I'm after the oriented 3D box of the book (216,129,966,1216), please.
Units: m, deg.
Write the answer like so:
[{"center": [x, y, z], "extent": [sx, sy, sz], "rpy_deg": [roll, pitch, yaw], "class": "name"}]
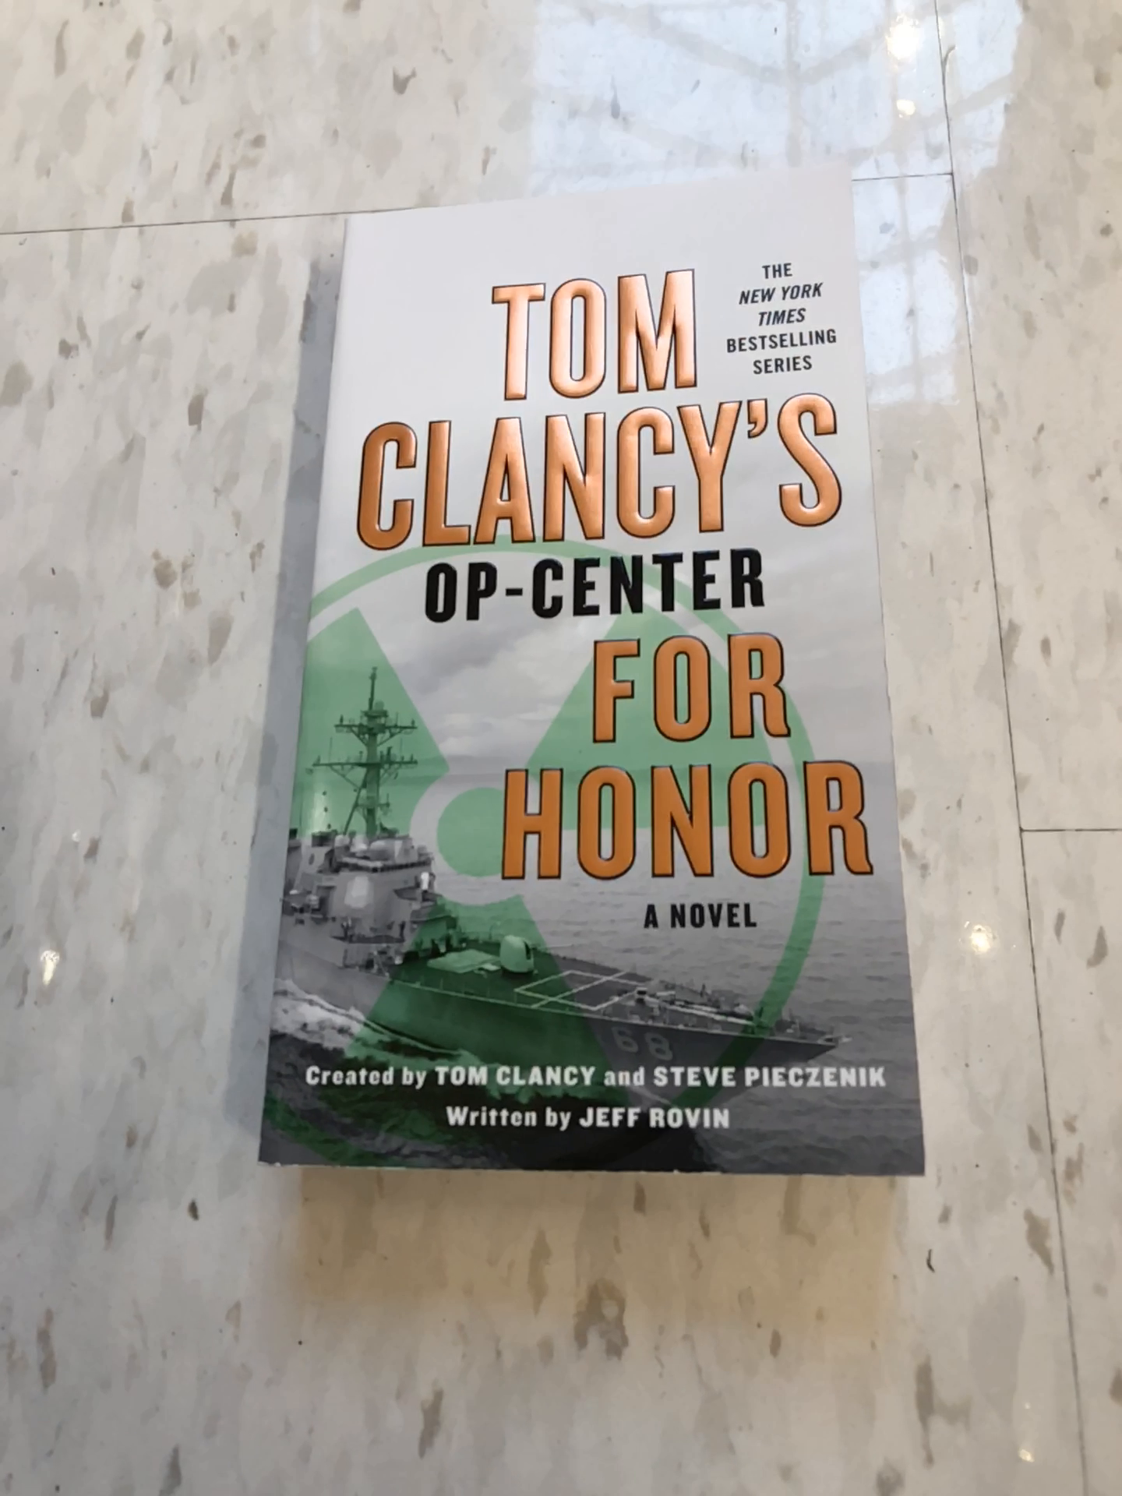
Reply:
[{"center": [0.006, -0.018, 0.239], "extent": [0.110, 0.050, 0.200], "rpy_deg": [-2, 70, 6], "class": "book"}]
